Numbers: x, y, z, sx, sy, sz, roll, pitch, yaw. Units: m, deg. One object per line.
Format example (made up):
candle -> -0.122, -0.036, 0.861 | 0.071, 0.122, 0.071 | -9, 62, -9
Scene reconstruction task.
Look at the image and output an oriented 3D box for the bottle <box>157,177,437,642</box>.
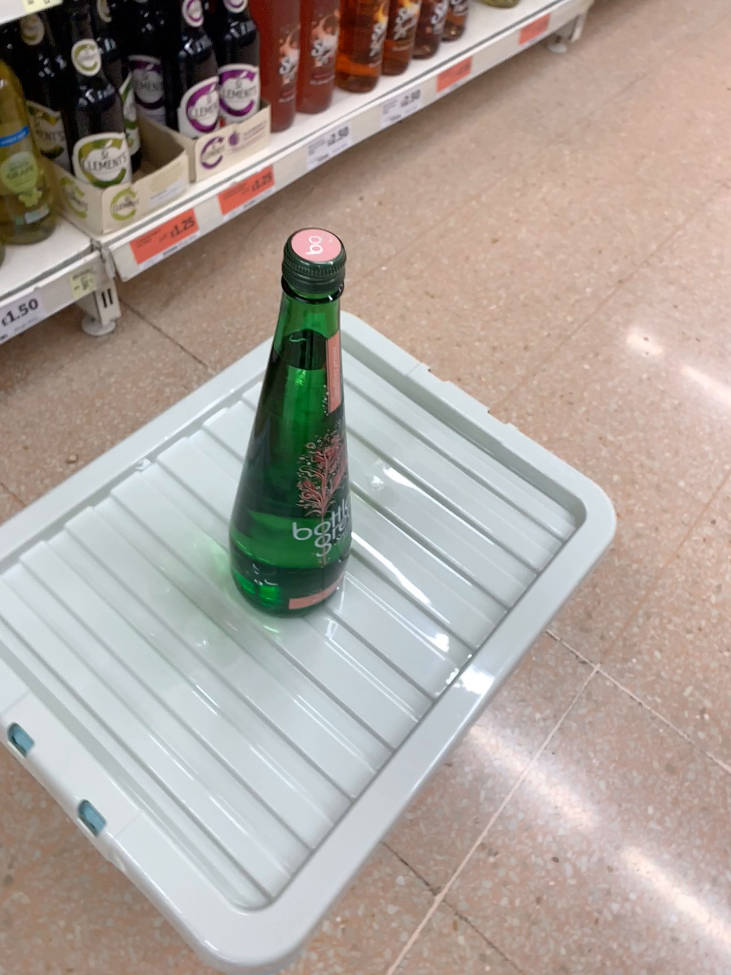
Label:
bottle -> -0.045, -0.021, 0.451 | 0.085, 0.287, 0.090 | 4, 56, -6
